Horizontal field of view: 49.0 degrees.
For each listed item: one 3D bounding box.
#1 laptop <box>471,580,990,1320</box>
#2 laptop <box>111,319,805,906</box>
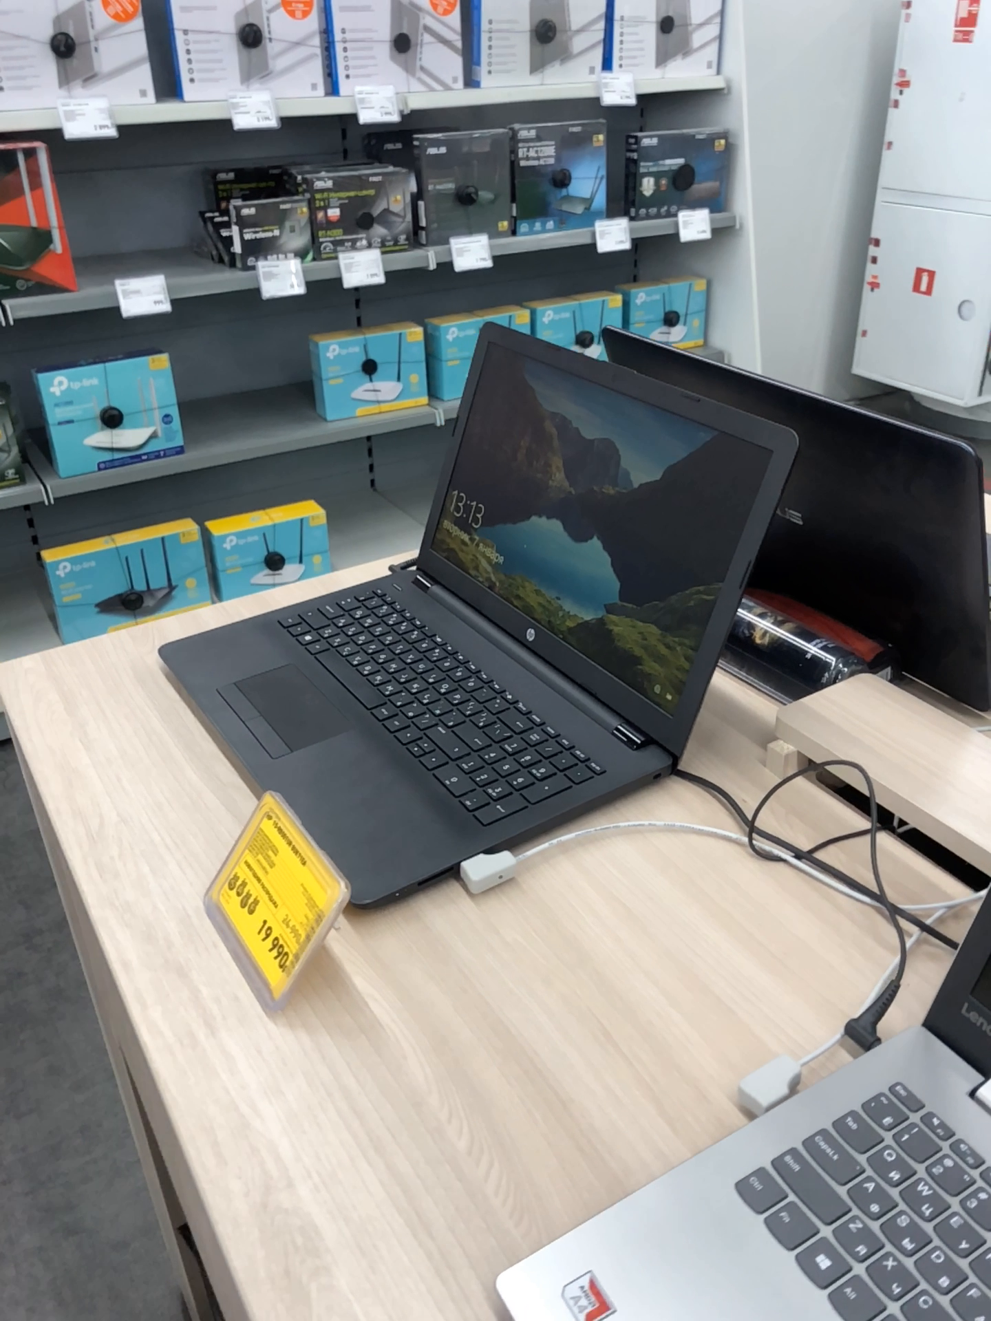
[{"bbox_3d":[0.234,0.187,0.313,0.339,0.226,0.372,-17,32,-23],"label":"laptop"},{"bbox_3d":[-0.045,-0.079,0.809,0.342,0.217,0.378,-19,34,-26],"label":"laptop"}]
